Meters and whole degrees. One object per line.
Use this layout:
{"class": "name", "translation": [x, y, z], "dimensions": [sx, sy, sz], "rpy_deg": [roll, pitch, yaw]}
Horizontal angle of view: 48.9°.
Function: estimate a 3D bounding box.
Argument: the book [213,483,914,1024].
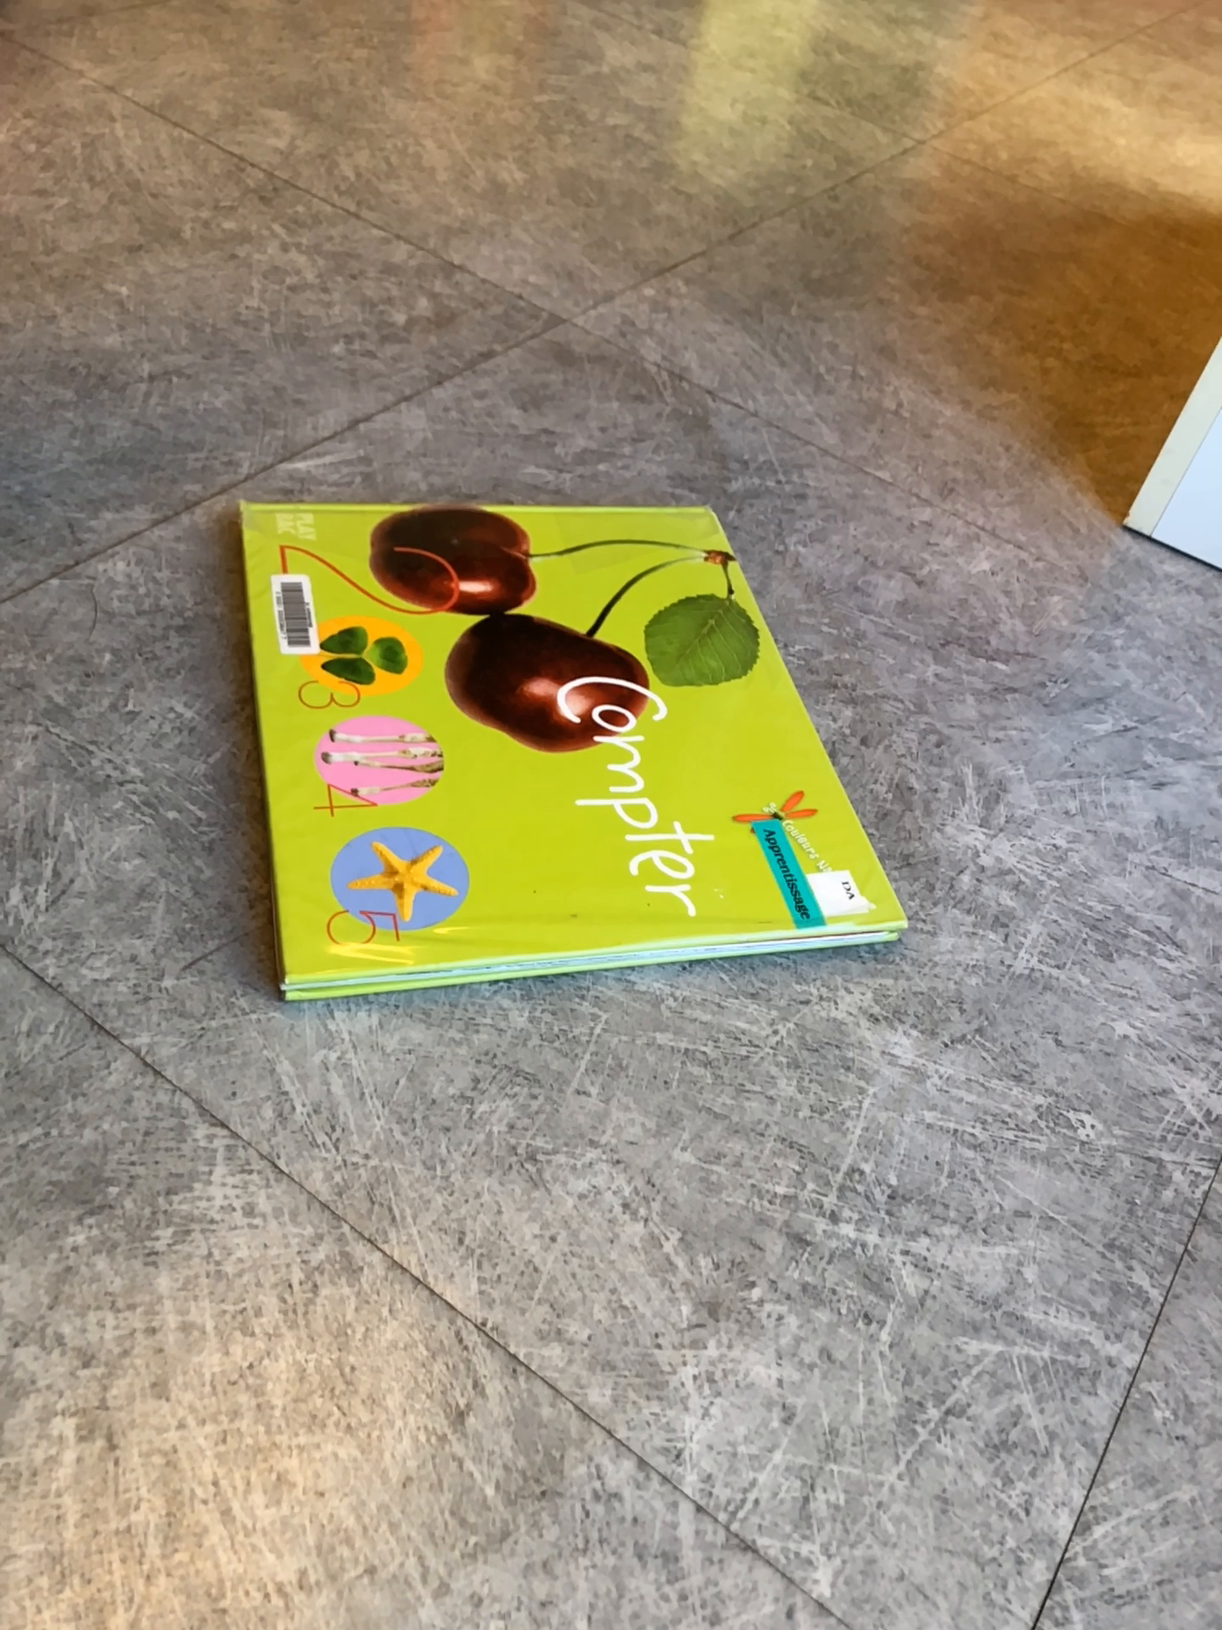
{"class": "book", "translation": [-0.034, -0.045, 0.522], "dimensions": [0.222, 0.021, 0.256], "rpy_deg": [-5, 48, -15]}
